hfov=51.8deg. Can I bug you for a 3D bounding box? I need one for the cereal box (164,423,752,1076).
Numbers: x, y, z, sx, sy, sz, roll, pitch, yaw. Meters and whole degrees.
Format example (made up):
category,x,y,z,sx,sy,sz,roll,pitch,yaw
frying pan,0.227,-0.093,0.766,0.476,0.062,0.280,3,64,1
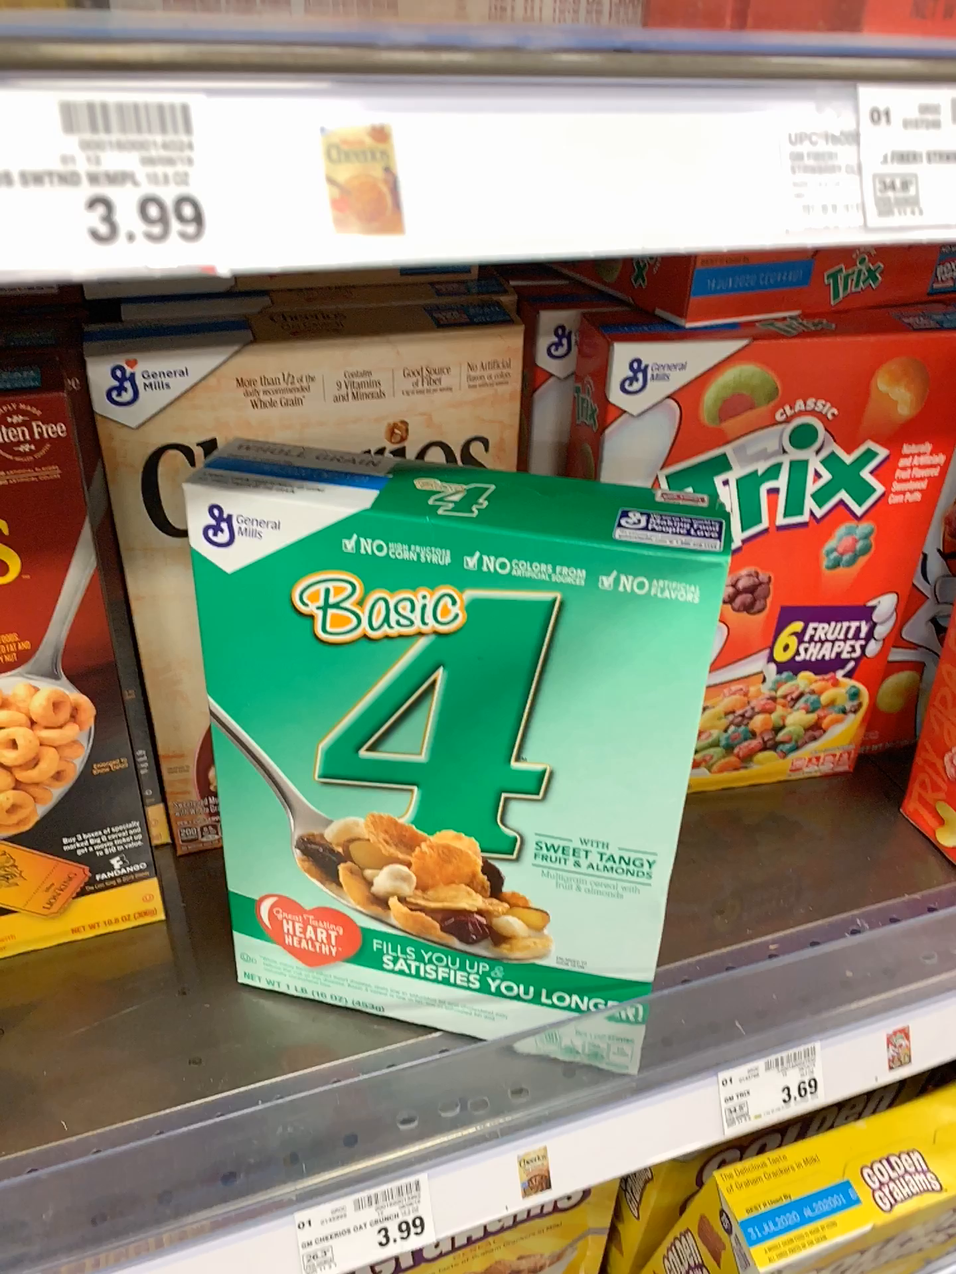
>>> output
category,x,y,z,sx,sy,sz,roll,pitch,yaw
cereal box,-0.011,0.055,0.410,0.200,0.259,0.050,9,30,10
